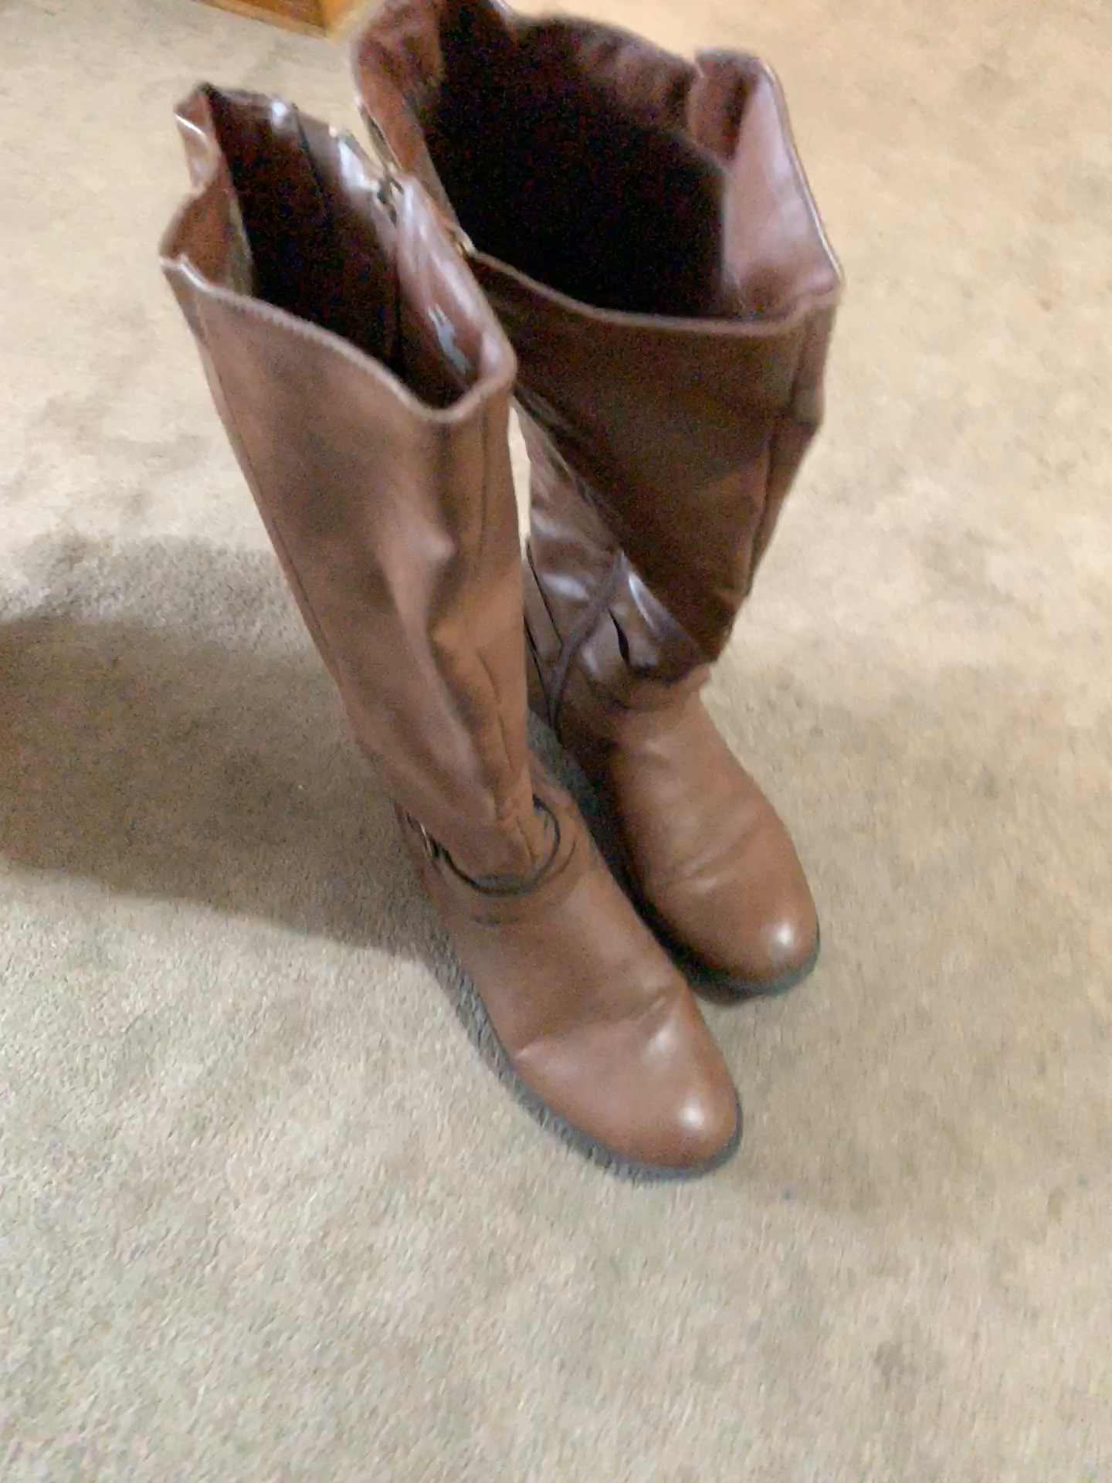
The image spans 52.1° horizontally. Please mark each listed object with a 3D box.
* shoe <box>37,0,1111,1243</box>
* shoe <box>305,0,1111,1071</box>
[{"bbox_3d":[0.000,0.012,0.392,0.110,0.368,0.261,-32,68,-15],"label":"shoe"},{"bbox_3d":[0.047,-0.059,0.451,0.120,0.398,0.271,-26,66,-12],"label":"shoe"}]
